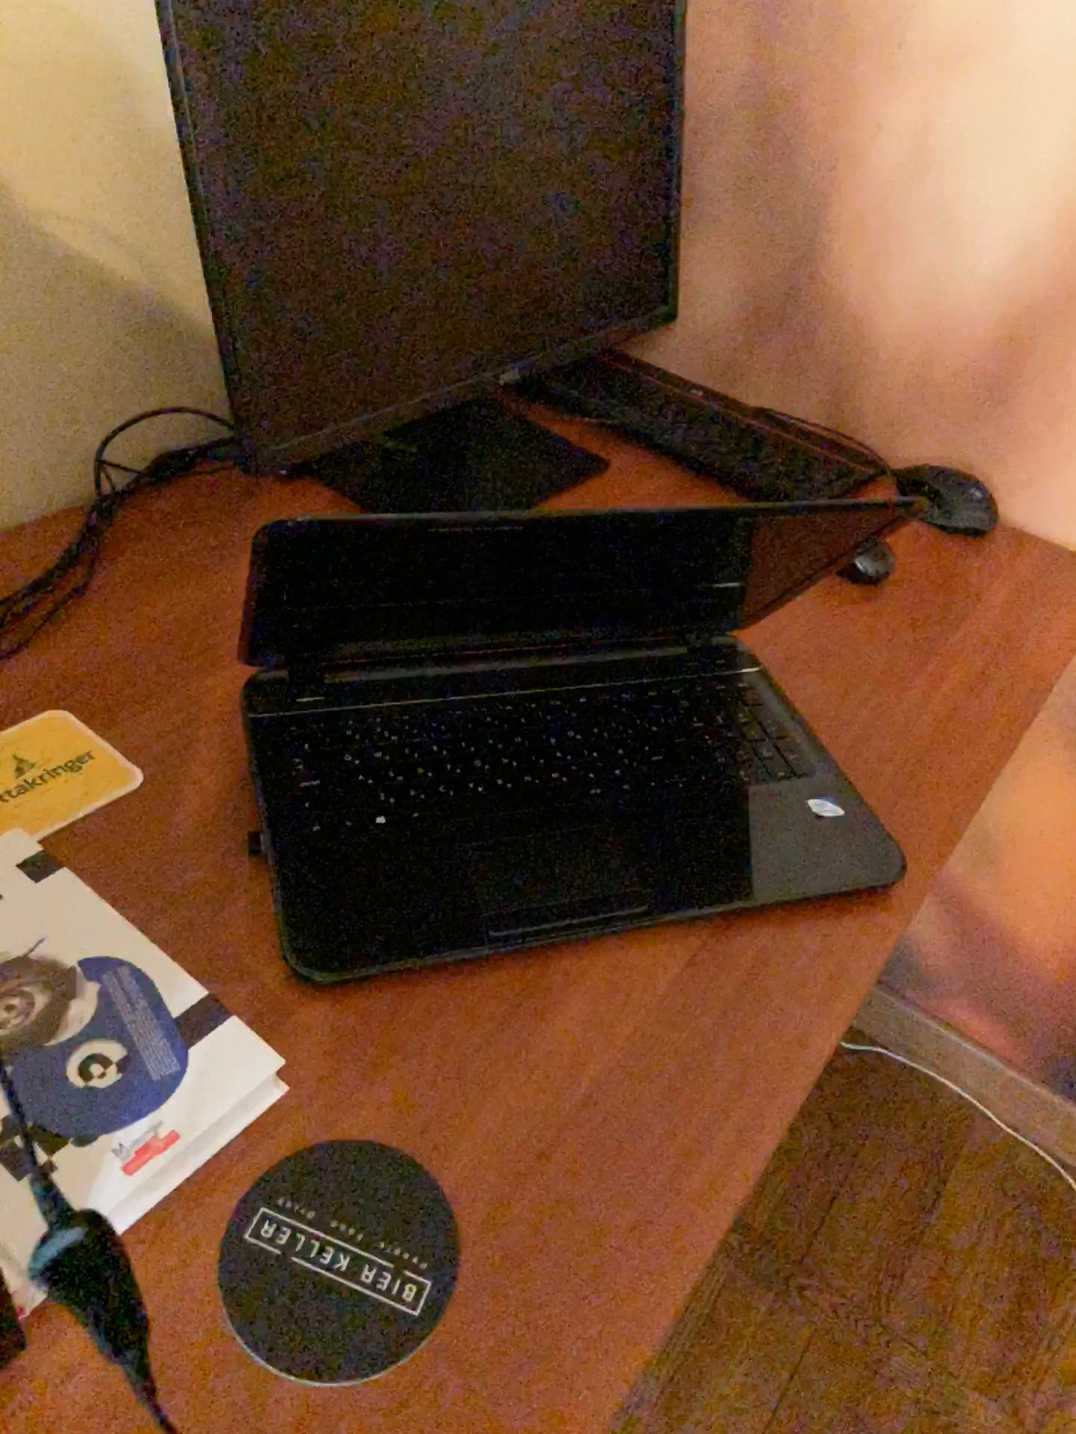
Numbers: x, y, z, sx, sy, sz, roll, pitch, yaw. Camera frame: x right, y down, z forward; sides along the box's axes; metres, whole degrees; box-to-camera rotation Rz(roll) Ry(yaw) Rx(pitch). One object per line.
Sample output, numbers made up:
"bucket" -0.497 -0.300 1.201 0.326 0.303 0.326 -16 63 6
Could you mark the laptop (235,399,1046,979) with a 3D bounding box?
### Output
"laptop" 0.029 -0.039 0.633 0.370 0.194 0.245 -6 41 -19
